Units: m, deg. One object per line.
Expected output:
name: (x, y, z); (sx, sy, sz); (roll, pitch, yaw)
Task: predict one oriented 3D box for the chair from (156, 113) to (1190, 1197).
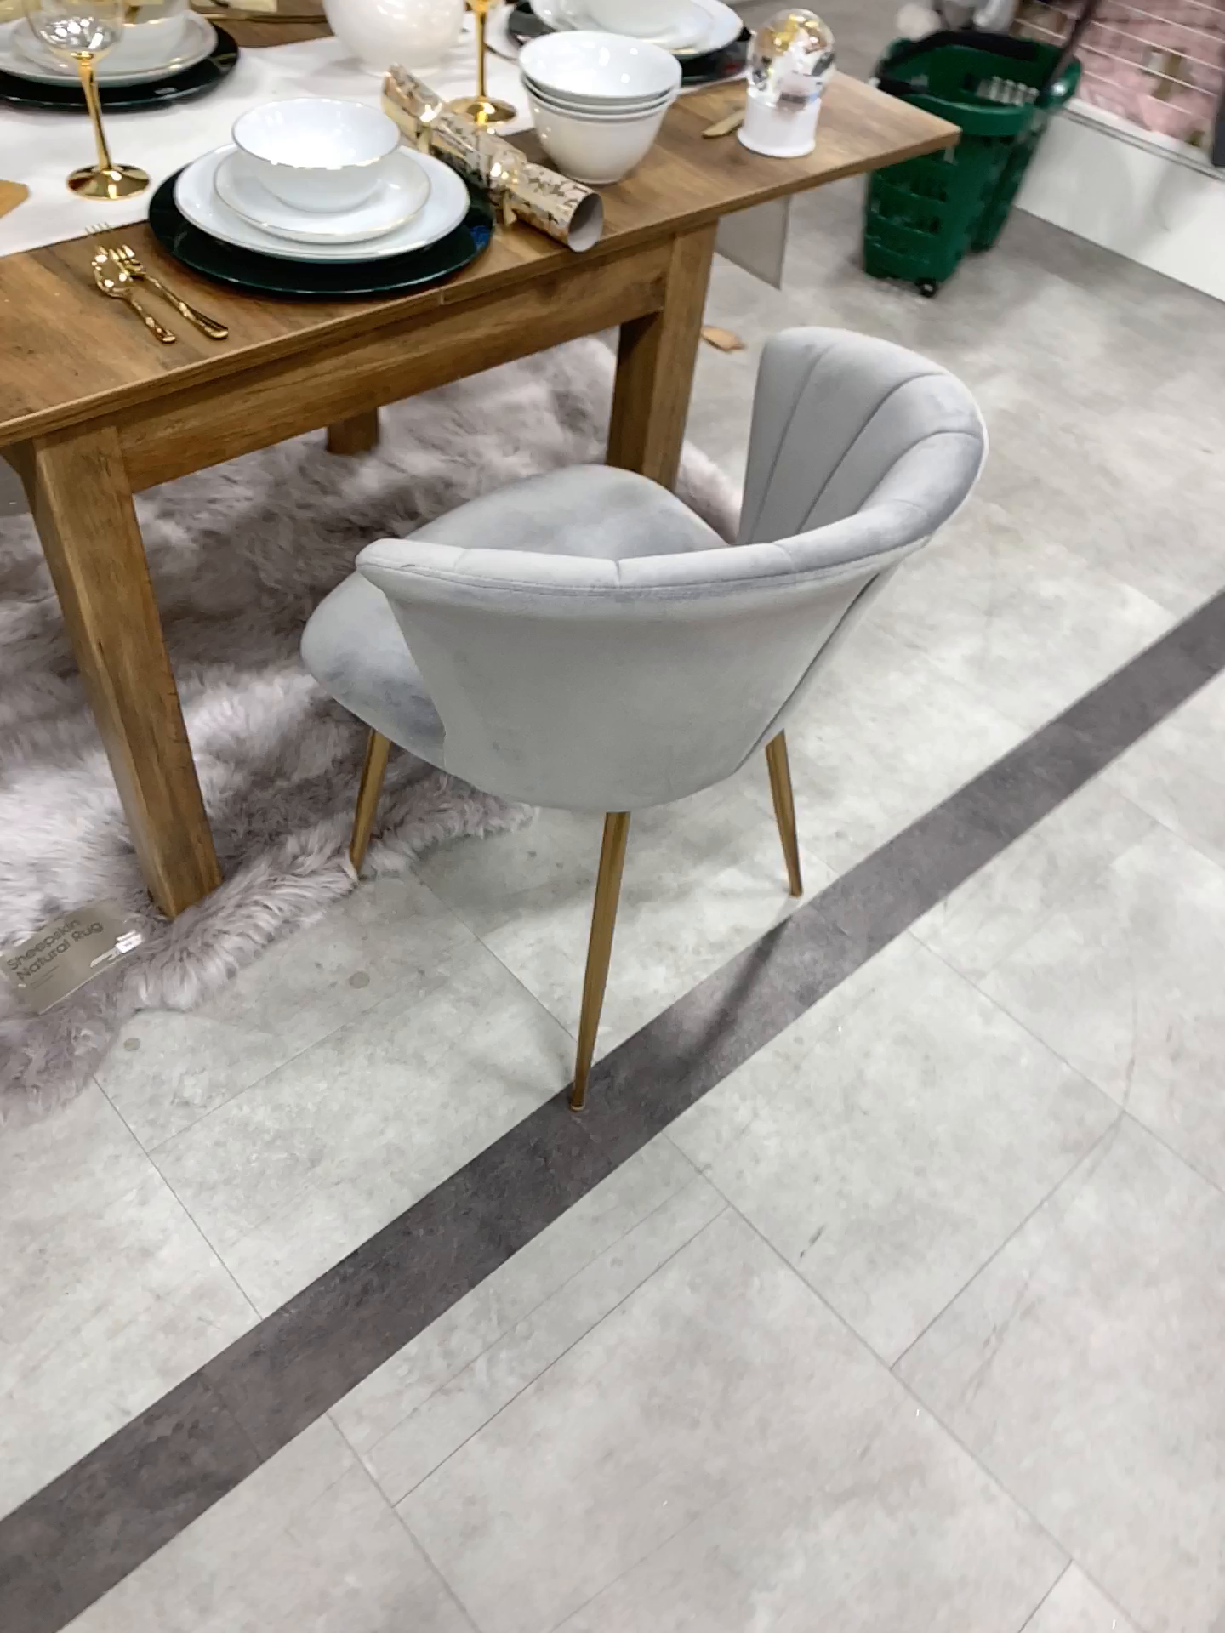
chair: (0.040, -0.169, 1.258); (0.552, 0.709, 0.634); (37, 55, 24)
